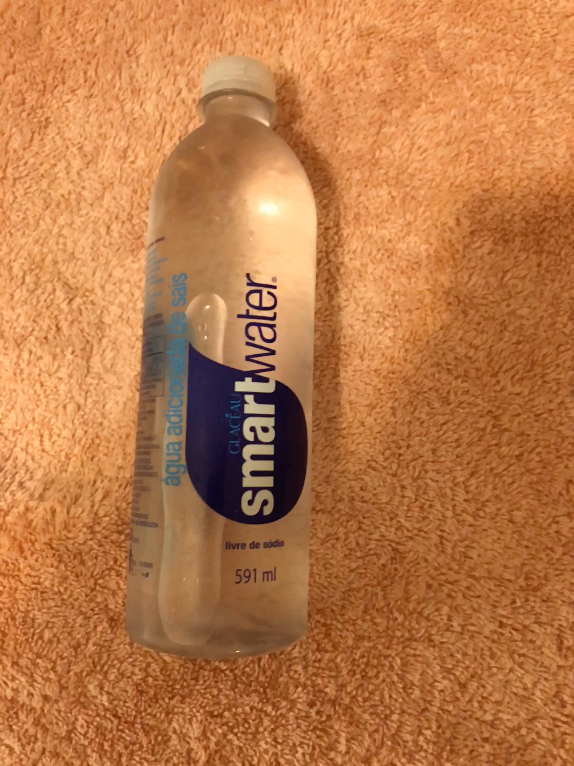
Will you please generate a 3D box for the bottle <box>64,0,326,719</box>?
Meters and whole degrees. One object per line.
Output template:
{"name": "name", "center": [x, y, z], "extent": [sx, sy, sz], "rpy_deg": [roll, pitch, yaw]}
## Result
{"name": "bottle", "center": [-0.027, -0.013, 0.227], "extent": [0.080, 0.050, 0.230], "rpy_deg": [0, 86, 4]}
